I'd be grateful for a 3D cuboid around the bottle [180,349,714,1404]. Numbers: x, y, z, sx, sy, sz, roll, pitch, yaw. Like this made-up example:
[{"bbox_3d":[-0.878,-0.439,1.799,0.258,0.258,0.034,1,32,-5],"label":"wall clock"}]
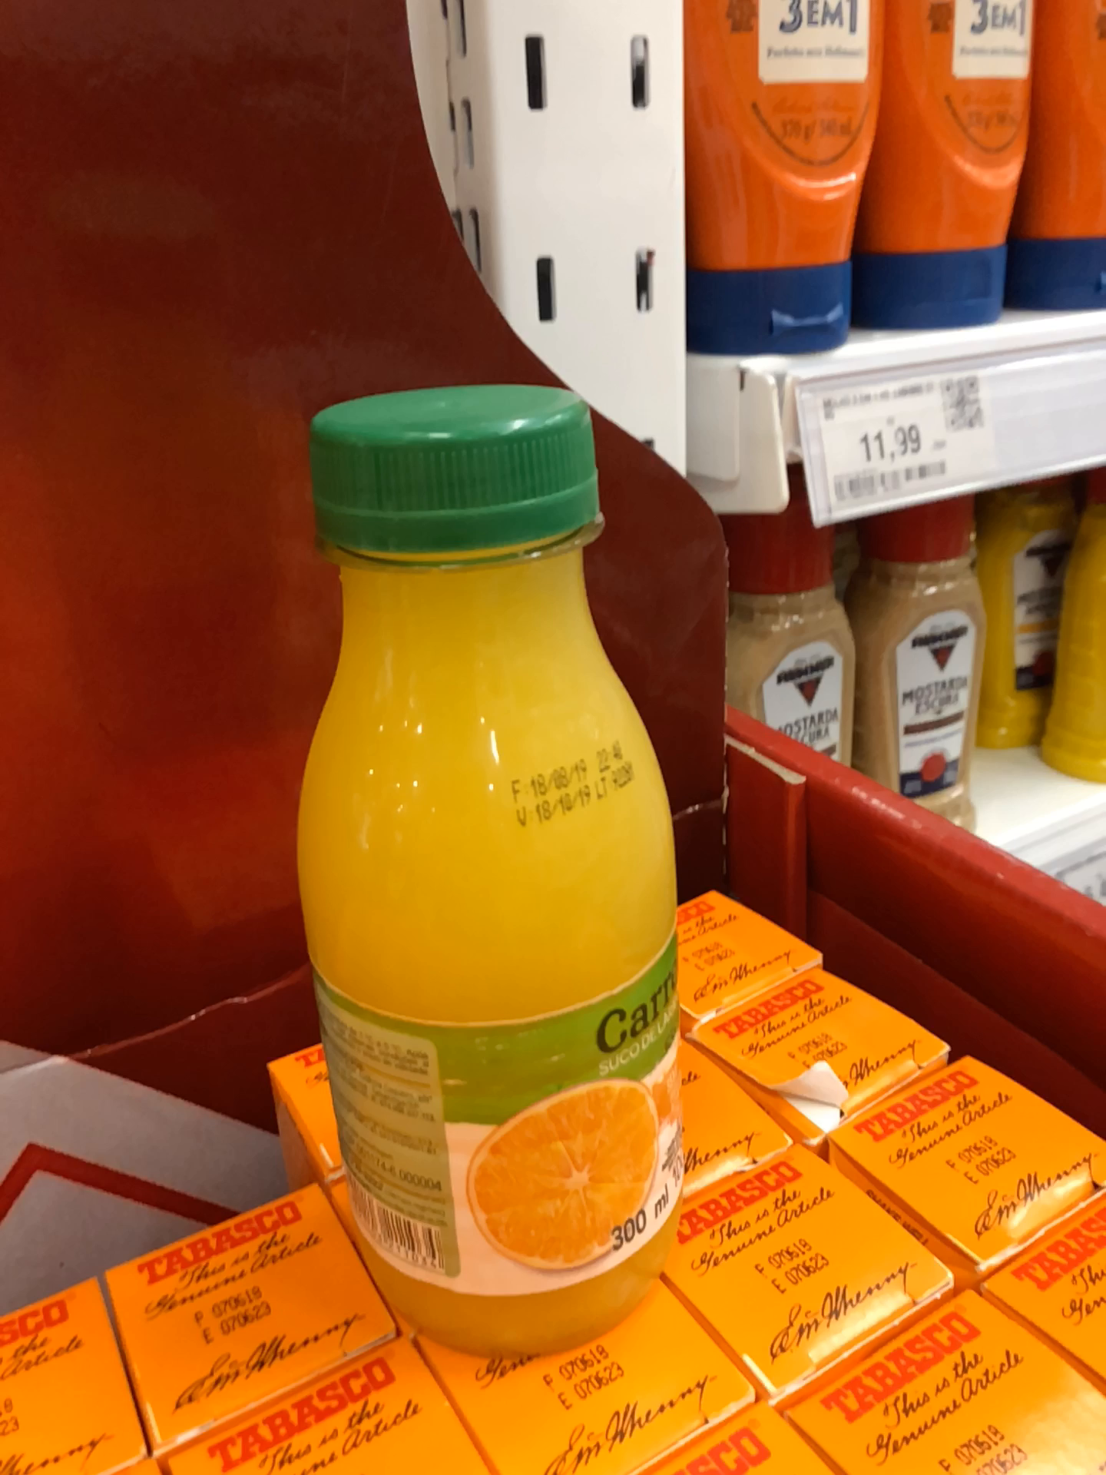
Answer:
[{"bbox_3d":[-0.007,0.020,0.196,0.050,0.149,0.060,5,24,20],"label":"bottle"}]
